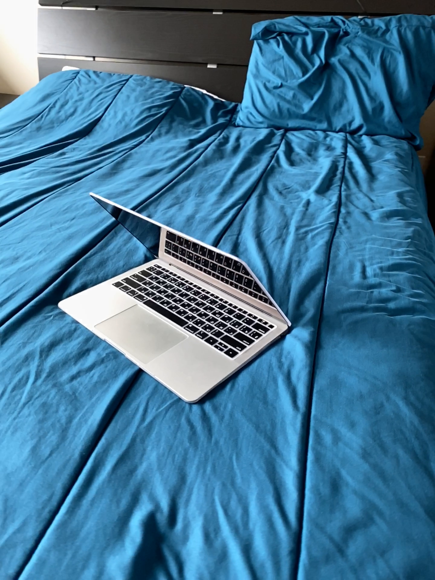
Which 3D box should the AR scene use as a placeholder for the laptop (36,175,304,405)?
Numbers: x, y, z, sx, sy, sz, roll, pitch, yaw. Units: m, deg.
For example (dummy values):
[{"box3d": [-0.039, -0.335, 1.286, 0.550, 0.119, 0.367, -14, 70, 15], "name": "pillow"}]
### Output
[{"box3d": [-0.068, -0.028, 0.635, 0.296, 0.161, 0.216, 27, 40, 34], "name": "laptop"}]
